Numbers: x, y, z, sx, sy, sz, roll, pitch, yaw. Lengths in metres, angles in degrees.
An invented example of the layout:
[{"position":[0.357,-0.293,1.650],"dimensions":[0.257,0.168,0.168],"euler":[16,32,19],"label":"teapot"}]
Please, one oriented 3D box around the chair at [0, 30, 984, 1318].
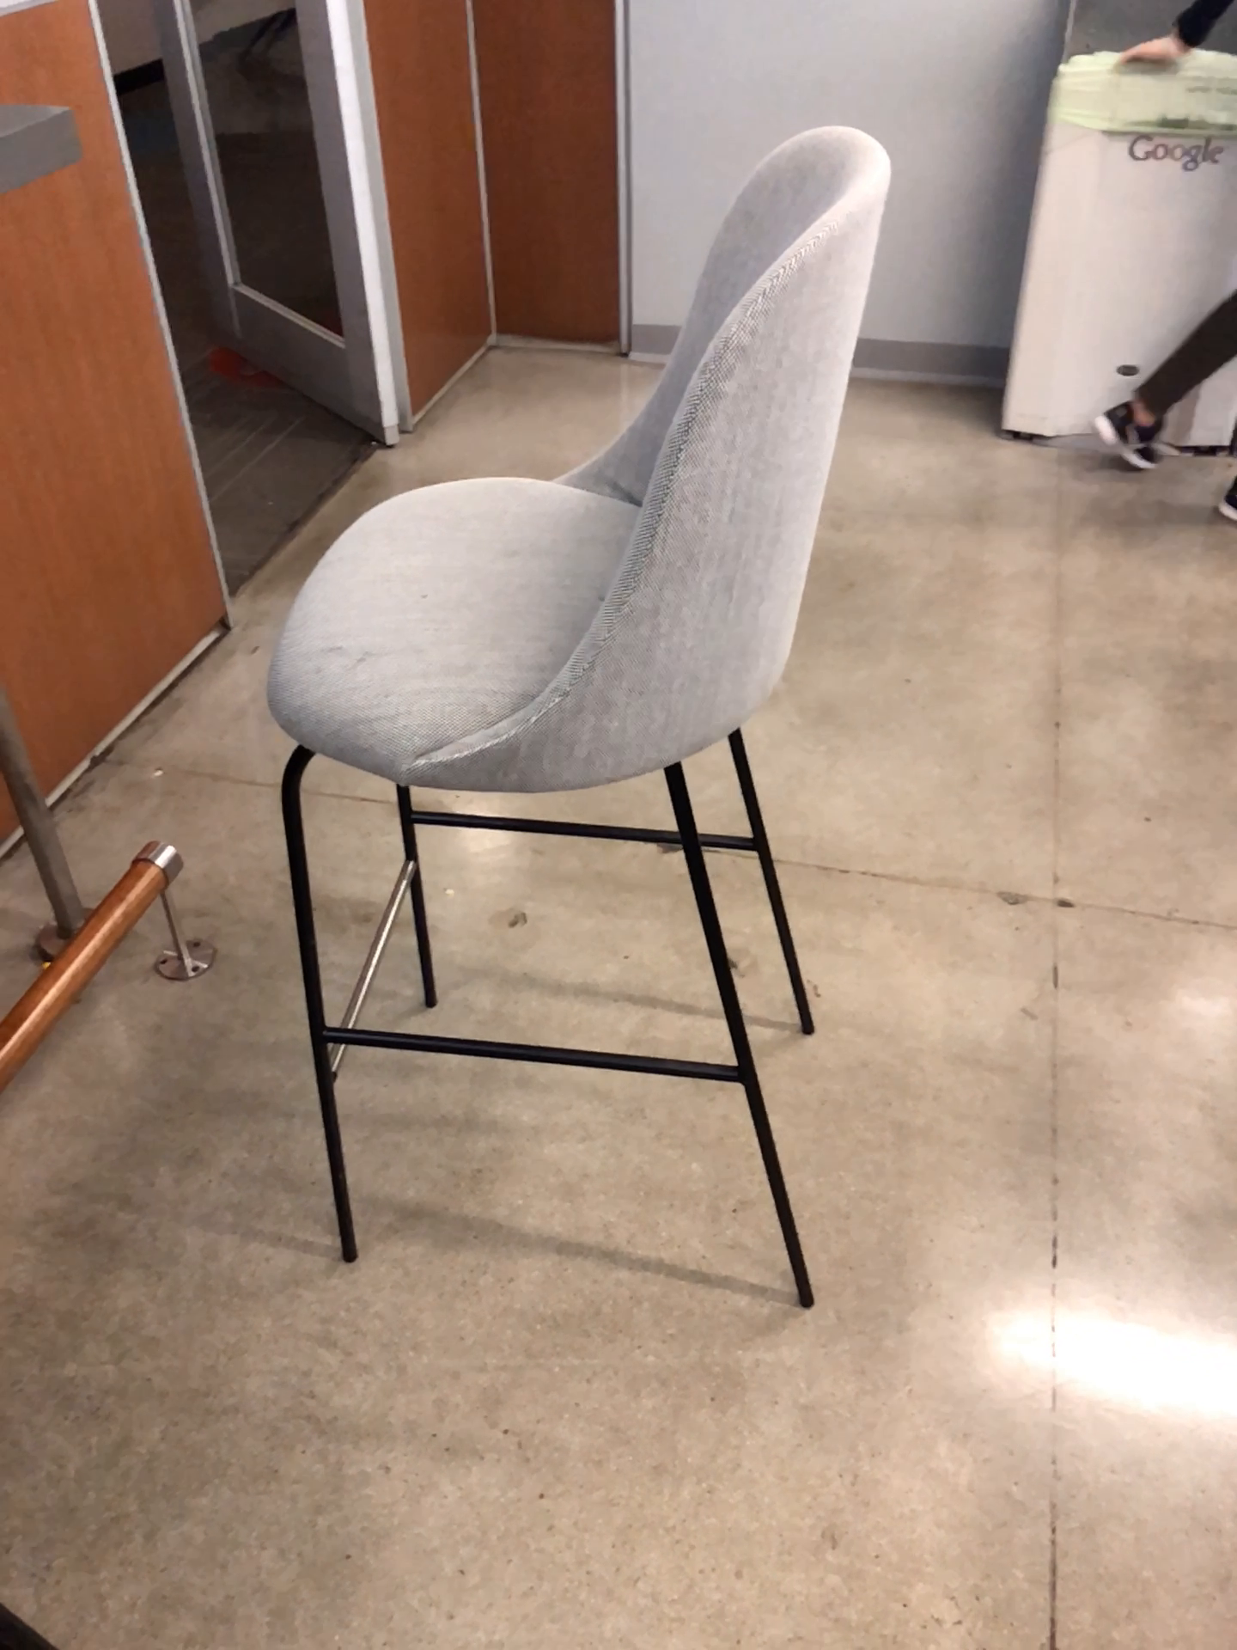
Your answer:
[{"position":[-0.074,-0.083,1.290],"dimensions":[0.620,1.094,0.462],"euler":[4,39,6],"label":"chair"}]
